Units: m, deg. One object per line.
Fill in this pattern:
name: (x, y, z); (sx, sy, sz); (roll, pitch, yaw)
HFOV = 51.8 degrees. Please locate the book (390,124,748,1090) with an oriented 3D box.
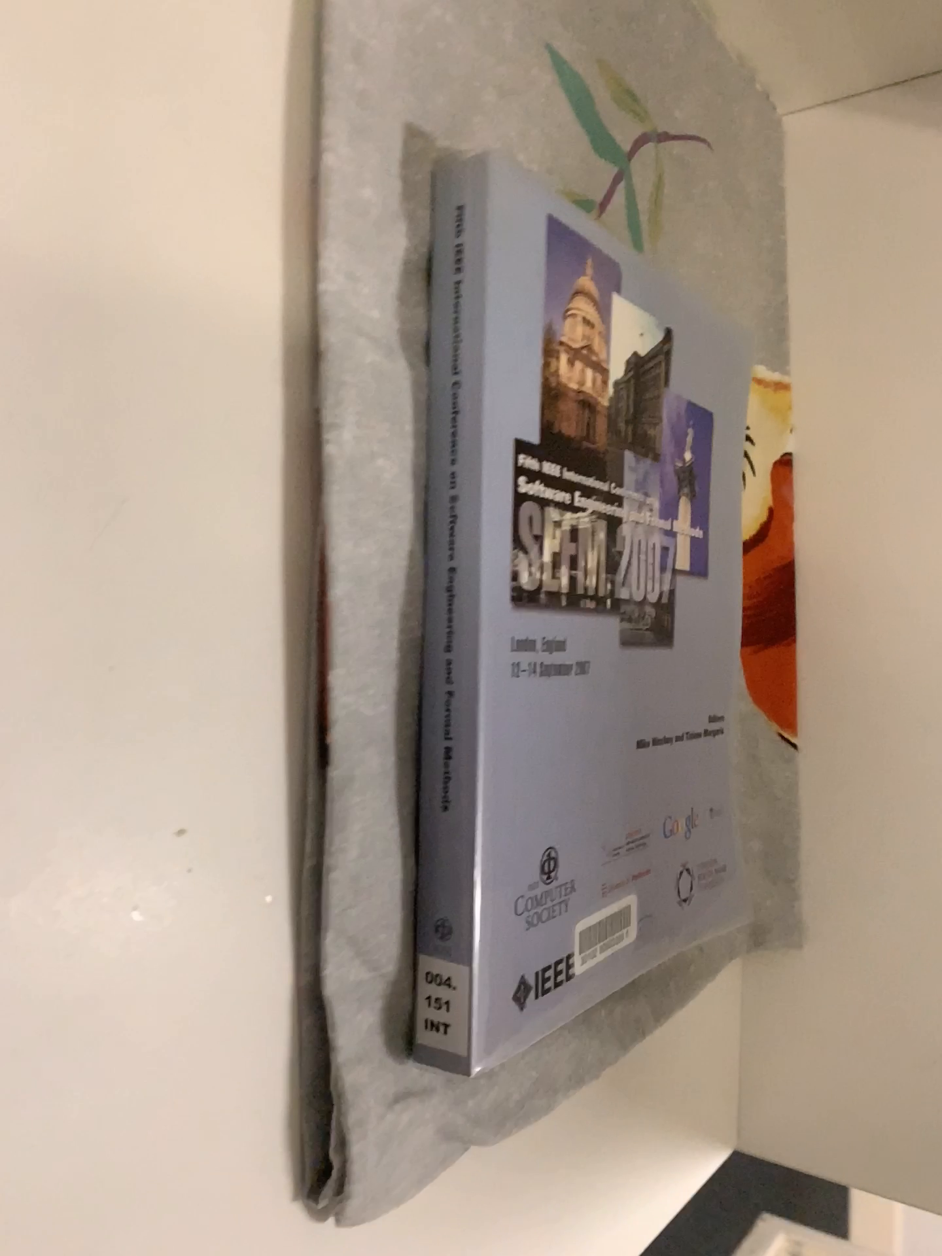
book: (0.052, -0.004, 0.370); (0.212, 0.030, 0.274); (3, 88, -55)
